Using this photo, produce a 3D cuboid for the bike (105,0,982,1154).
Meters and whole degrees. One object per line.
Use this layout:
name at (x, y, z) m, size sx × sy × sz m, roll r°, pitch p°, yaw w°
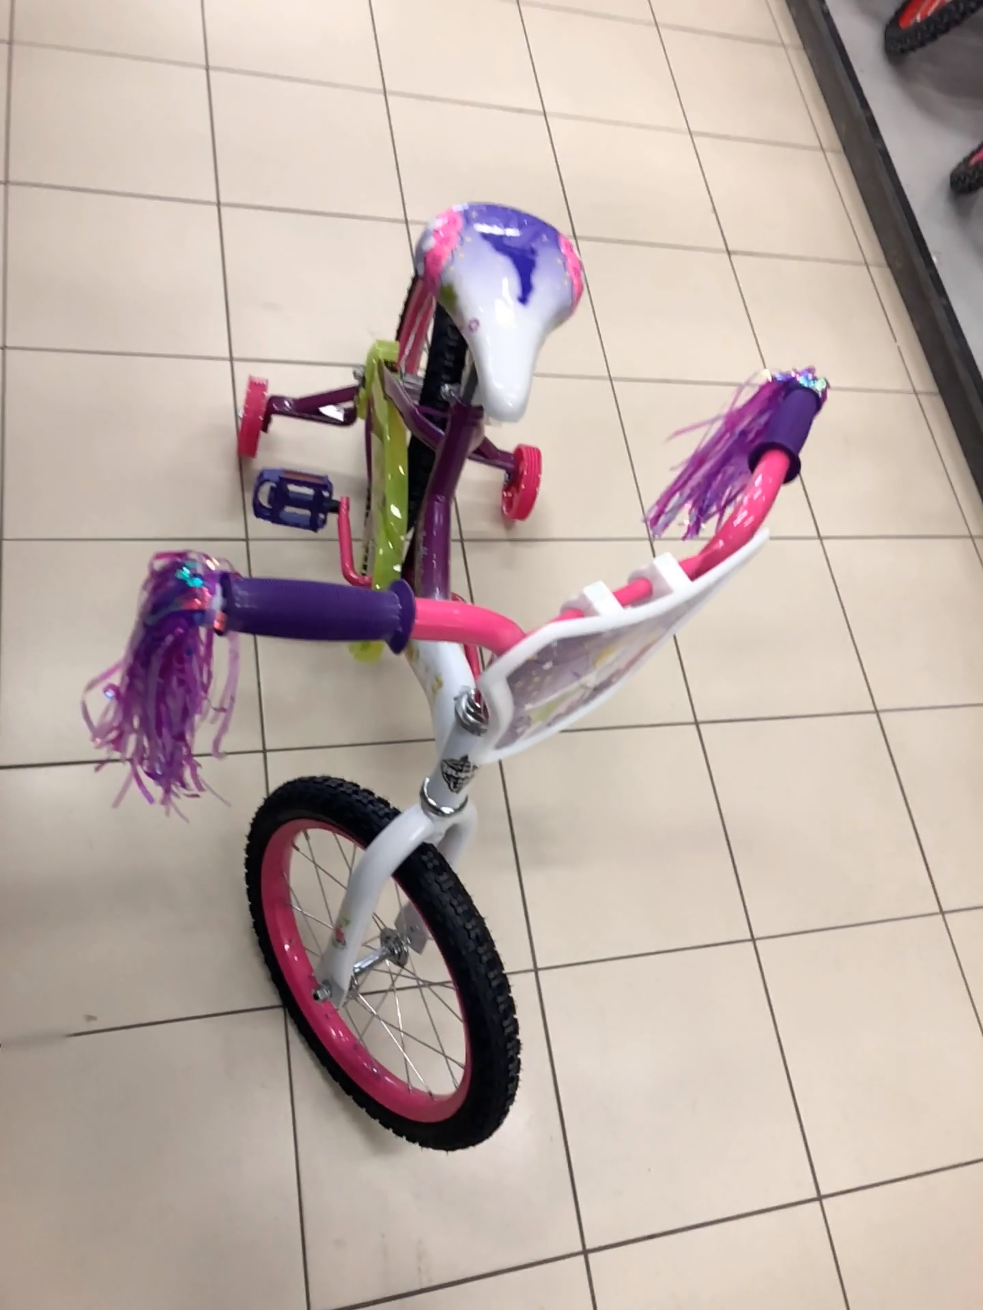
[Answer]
bike at (-0.004, -0.131, 1.028) m, size 0.595 × 0.811 × 1.069 m, roll 4°, pitch 64°, yaw -17°
